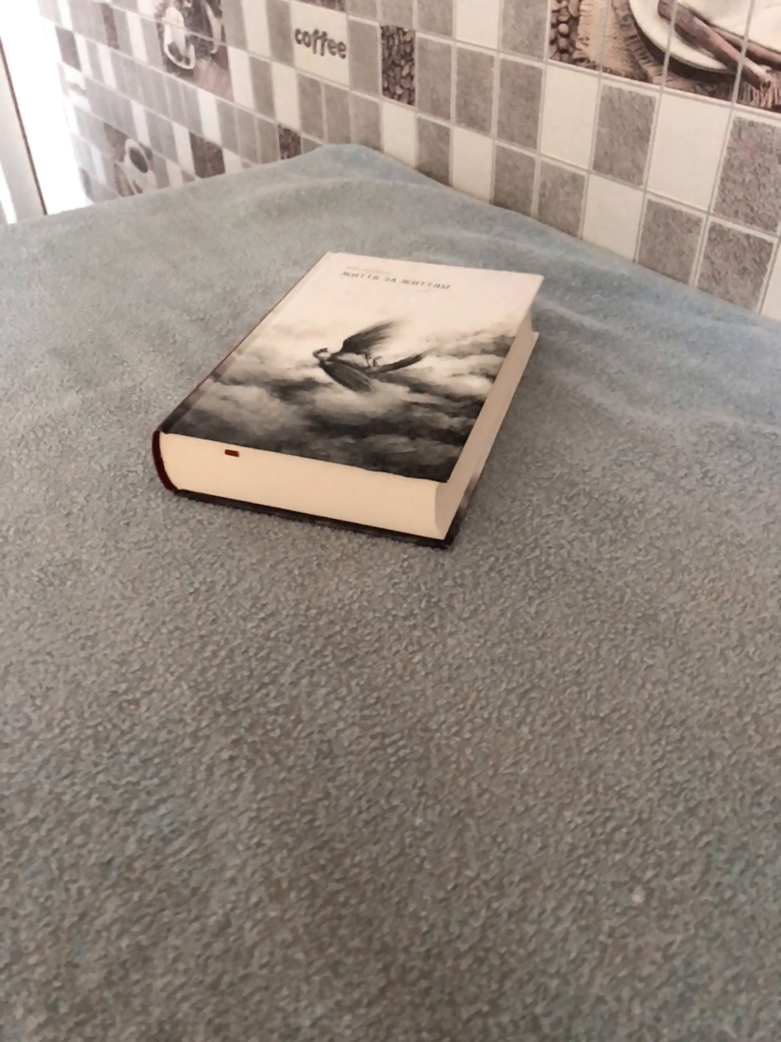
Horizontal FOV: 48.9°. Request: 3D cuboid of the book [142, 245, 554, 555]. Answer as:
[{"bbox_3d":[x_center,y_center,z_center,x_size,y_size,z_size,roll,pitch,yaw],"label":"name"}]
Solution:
[{"bbox_3d":[-0.008,-0.083,0.478,0.155,0.040,0.221,12,42,15],"label":"book"}]
